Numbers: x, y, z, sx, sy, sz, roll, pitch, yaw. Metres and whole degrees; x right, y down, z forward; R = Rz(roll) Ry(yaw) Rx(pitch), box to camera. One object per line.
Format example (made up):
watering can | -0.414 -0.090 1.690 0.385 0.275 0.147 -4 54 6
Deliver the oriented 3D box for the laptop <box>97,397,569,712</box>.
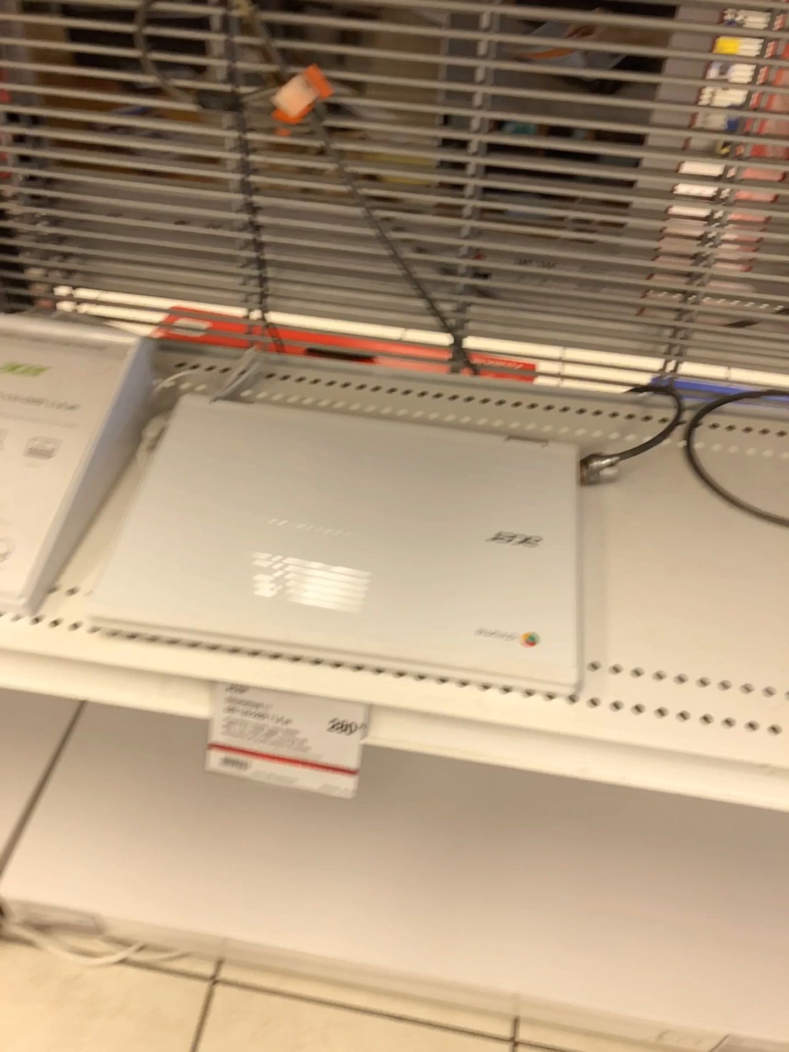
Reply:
laptop | -0.030 0.009 0.581 0.286 0.024 0.184 8 55 5
